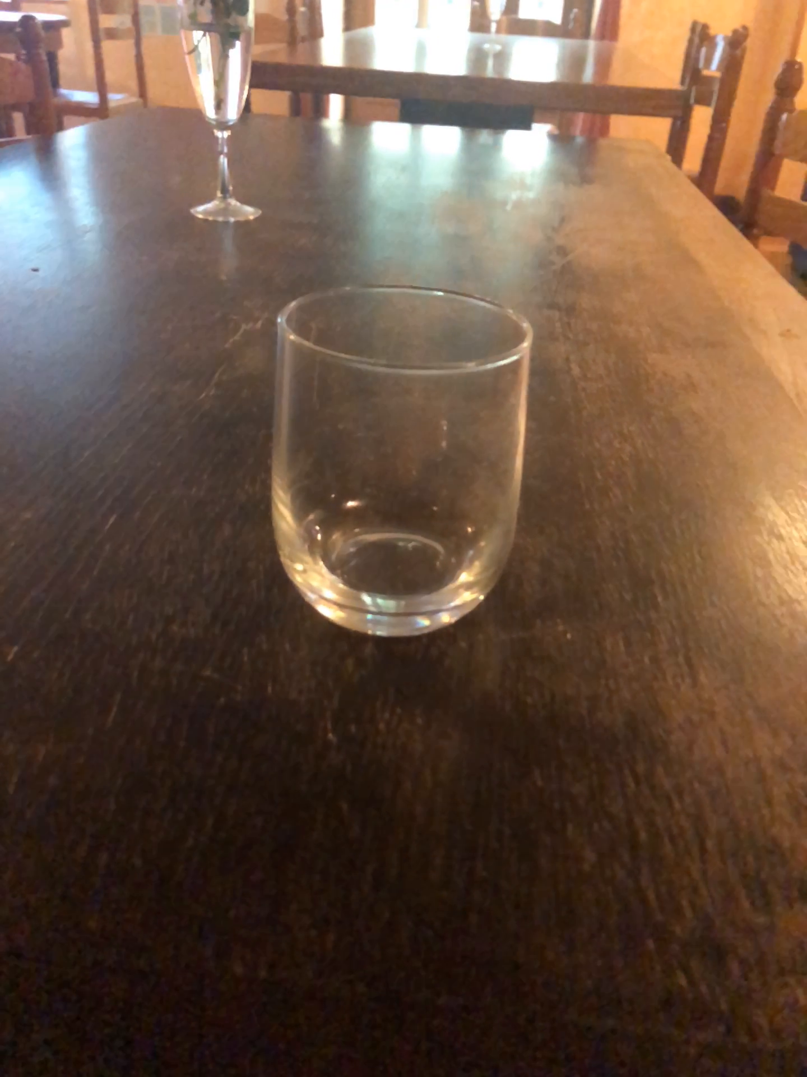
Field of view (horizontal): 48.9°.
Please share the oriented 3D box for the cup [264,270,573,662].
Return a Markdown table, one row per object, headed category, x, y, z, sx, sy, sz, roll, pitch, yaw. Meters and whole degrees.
| category | x | y | z | sx | sy | sz | roll | pitch | yaw |
| --- | --- | --- | --- | --- | --- | --- | --- | --- | --- |
| cup | 0.002 | -0.023 | 0.257 | 0.070 | 0.084 | 0.078 | 2 | 31 | -1 |
